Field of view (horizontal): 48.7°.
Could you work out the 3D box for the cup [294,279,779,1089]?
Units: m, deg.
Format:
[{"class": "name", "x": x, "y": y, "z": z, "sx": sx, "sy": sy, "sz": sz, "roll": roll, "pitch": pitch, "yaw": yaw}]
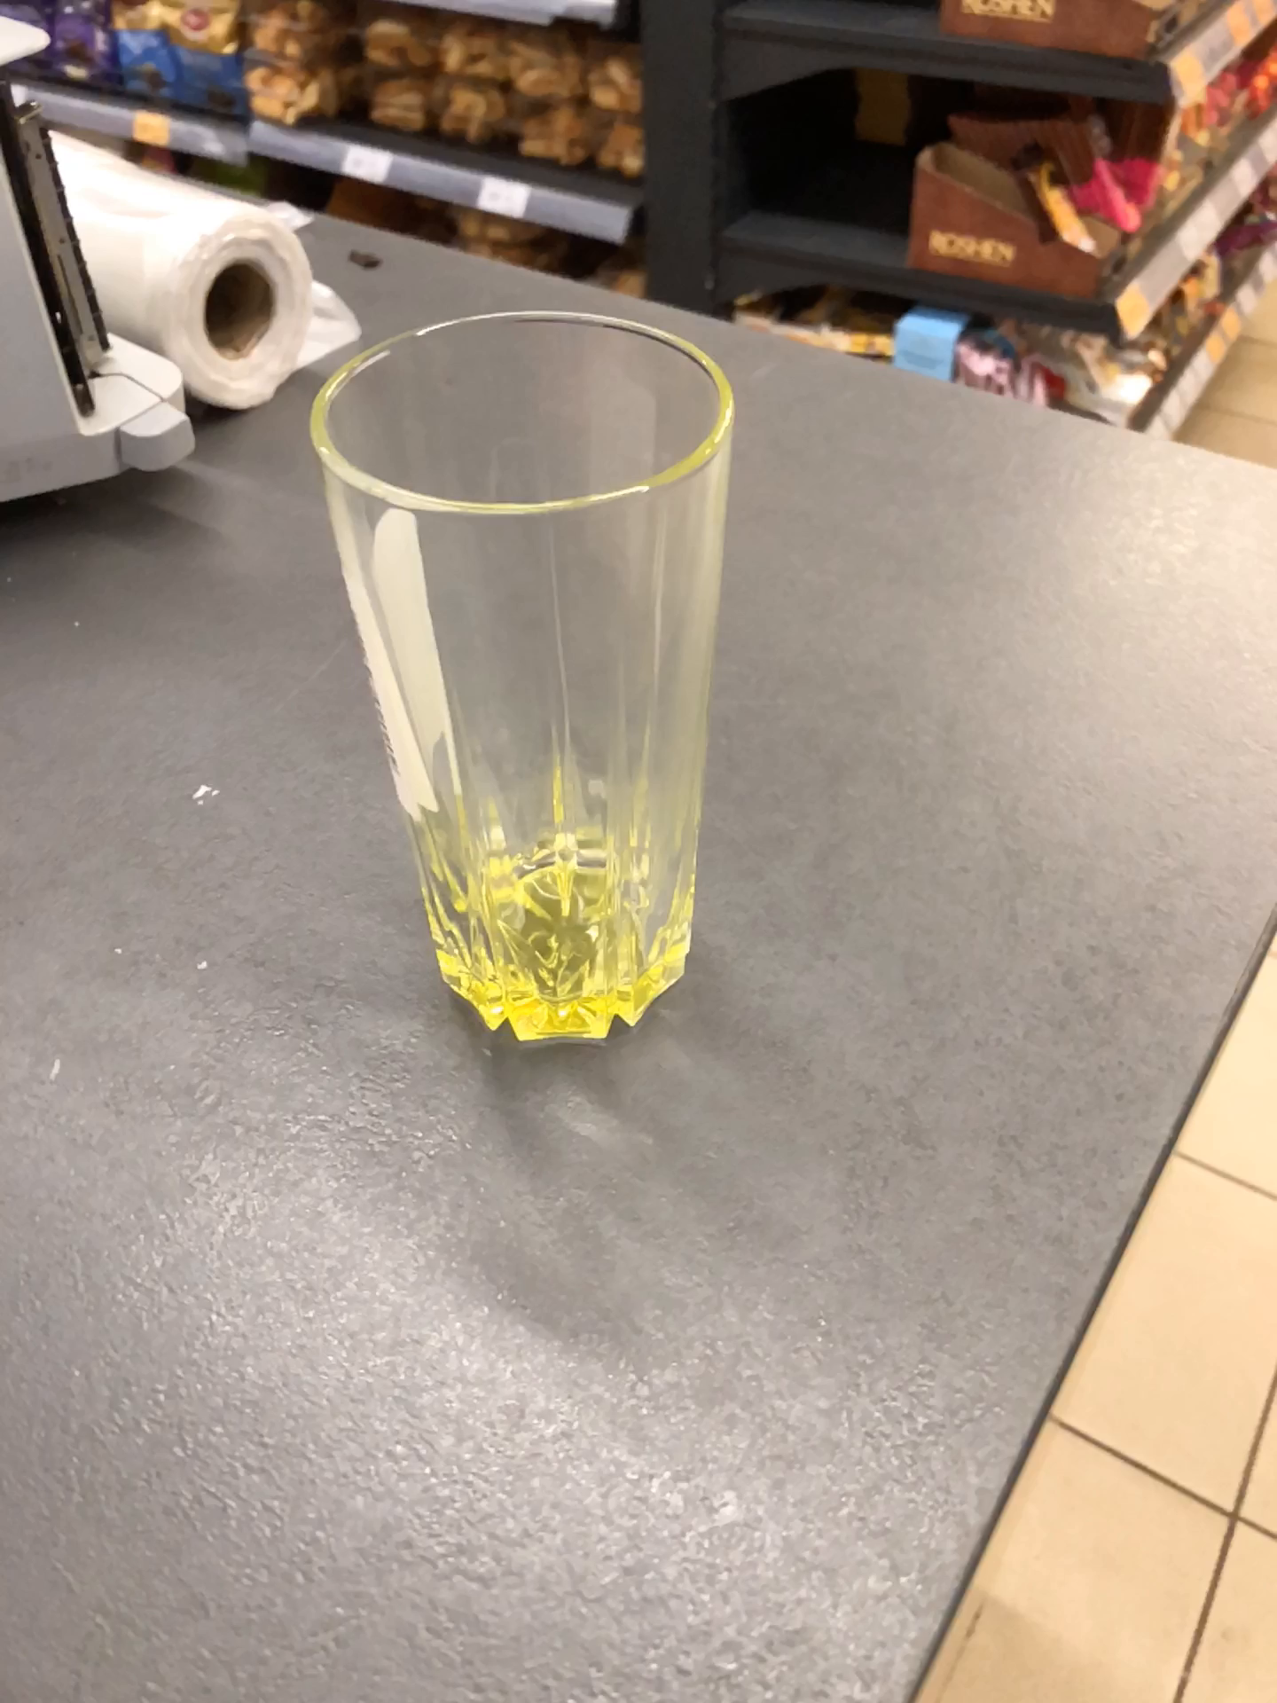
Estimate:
[{"class": "cup", "x": -0.018, "y": -0.028, "z": 0.277, "sx": 0.070, "sy": 0.134, "sz": 0.075, "roll": -1, "pitch": 44, "yaw": 1}]
